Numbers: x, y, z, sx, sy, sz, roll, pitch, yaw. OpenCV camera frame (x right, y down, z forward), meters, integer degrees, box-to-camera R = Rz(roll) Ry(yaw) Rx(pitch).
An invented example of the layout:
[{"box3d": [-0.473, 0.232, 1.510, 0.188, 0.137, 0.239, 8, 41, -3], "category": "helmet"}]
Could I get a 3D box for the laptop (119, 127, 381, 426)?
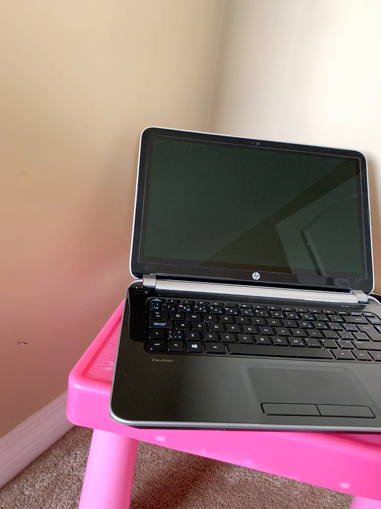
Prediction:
[{"box3d": [0.086, -0.008, 0.377, 0.274, 0.161, 0.272, 4, 23, -7], "category": "laptop"}]
